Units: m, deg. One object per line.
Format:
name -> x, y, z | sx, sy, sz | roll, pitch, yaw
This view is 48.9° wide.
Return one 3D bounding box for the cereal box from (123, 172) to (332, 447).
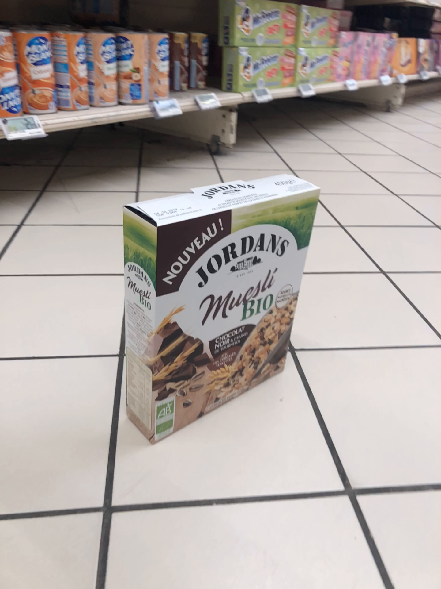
cereal box -> 0.008, 0.008, 0.456 | 0.191, 0.209, 0.050 | -20, 37, -37
